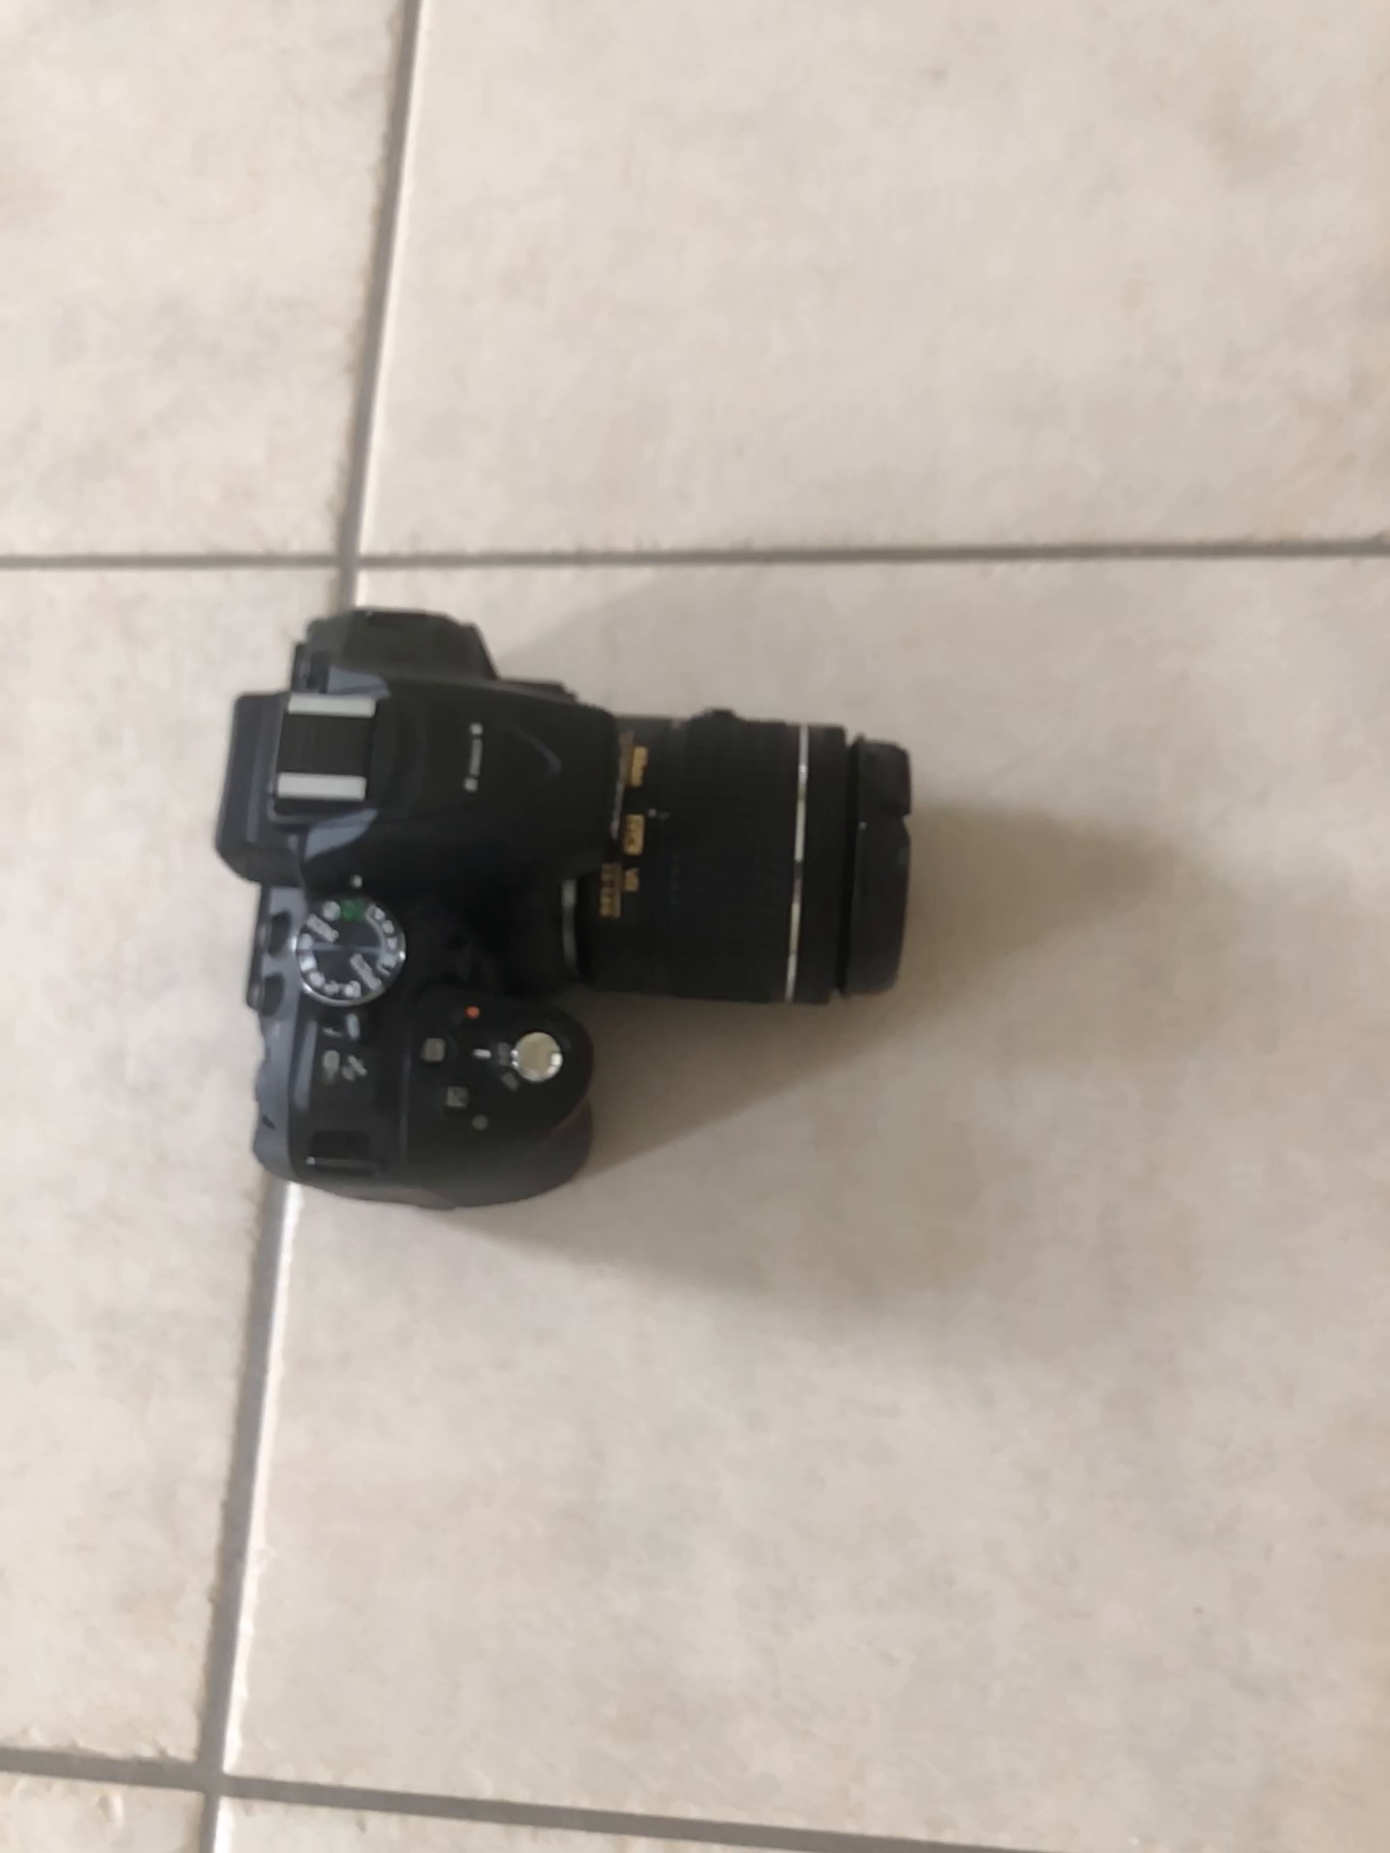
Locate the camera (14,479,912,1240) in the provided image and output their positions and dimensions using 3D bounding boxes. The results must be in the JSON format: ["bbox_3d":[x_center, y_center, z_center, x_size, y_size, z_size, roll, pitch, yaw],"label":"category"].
[{"bbox_3d":[-0.038,-0.010,0.340,0.160,0.090,0.140,3,76,5],"label":"camera"}]
